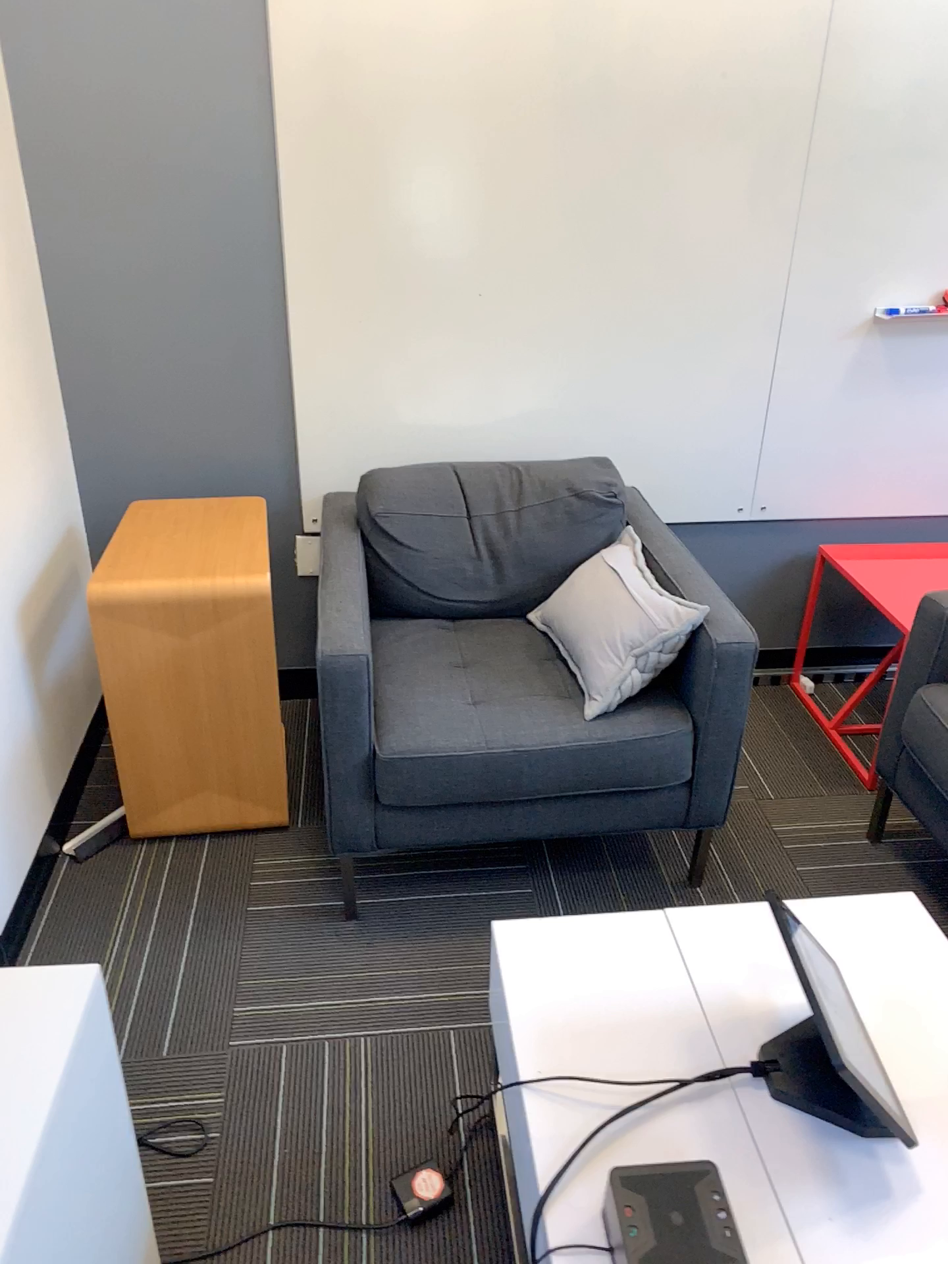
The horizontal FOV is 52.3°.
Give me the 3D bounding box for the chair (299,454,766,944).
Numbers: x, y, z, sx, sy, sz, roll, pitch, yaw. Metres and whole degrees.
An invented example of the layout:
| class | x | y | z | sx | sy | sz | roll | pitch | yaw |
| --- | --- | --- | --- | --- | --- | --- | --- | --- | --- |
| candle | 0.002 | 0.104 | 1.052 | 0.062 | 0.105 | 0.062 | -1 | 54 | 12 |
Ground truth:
| class | x | y | z | sx | sy | sz | roll | pitch | yaw |
| --- | --- | --- | --- | --- | --- | --- | --- | --- | --- |
| chair | 0.040 | 0.083 | 2.283 | 0.840 | 0.716 | 0.946 | -3 | 29 | -8 |
